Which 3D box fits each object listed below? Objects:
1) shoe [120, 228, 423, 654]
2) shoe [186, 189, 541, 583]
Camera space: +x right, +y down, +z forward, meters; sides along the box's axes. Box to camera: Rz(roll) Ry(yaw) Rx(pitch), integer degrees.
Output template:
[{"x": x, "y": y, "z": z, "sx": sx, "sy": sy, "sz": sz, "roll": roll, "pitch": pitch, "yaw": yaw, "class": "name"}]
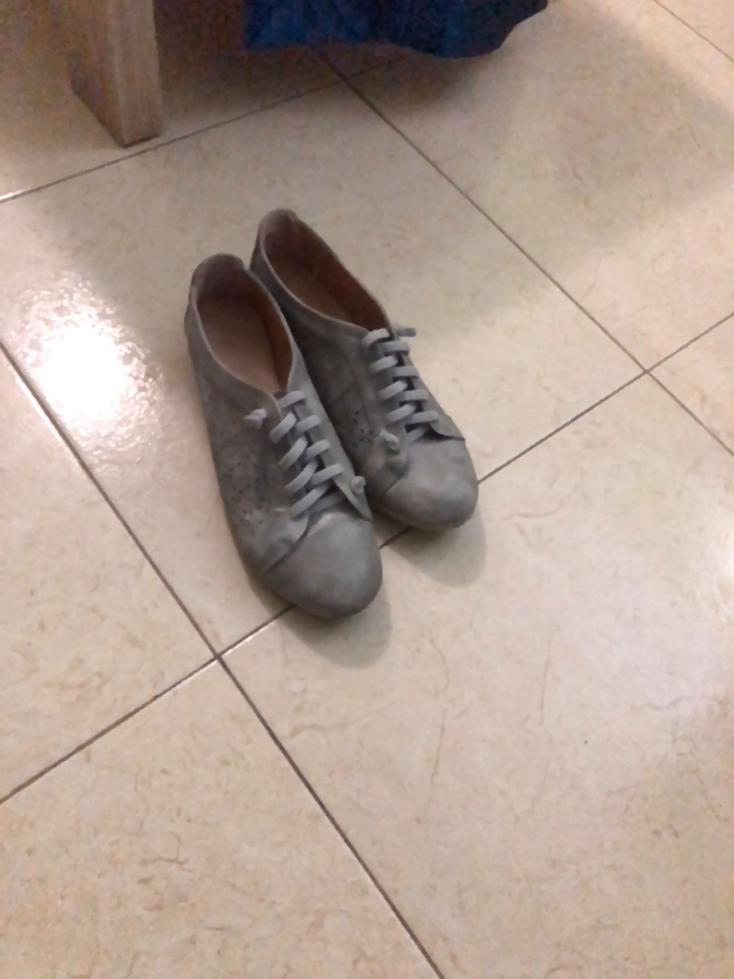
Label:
[{"x": -0.080, "y": -0.043, "z": 0.601, "sx": 0.100, "sy": 0.100, "sz": 0.290, "roll": -20, "pitch": 66, "yaw": -19, "class": "shoe"}, {"x": -0.015, "y": -0.085, "z": 0.629, "sx": 0.100, "sy": 0.100, "sz": 0.290, "roll": -31, "pitch": 70, "yaw": -23, "class": "shoe"}]
